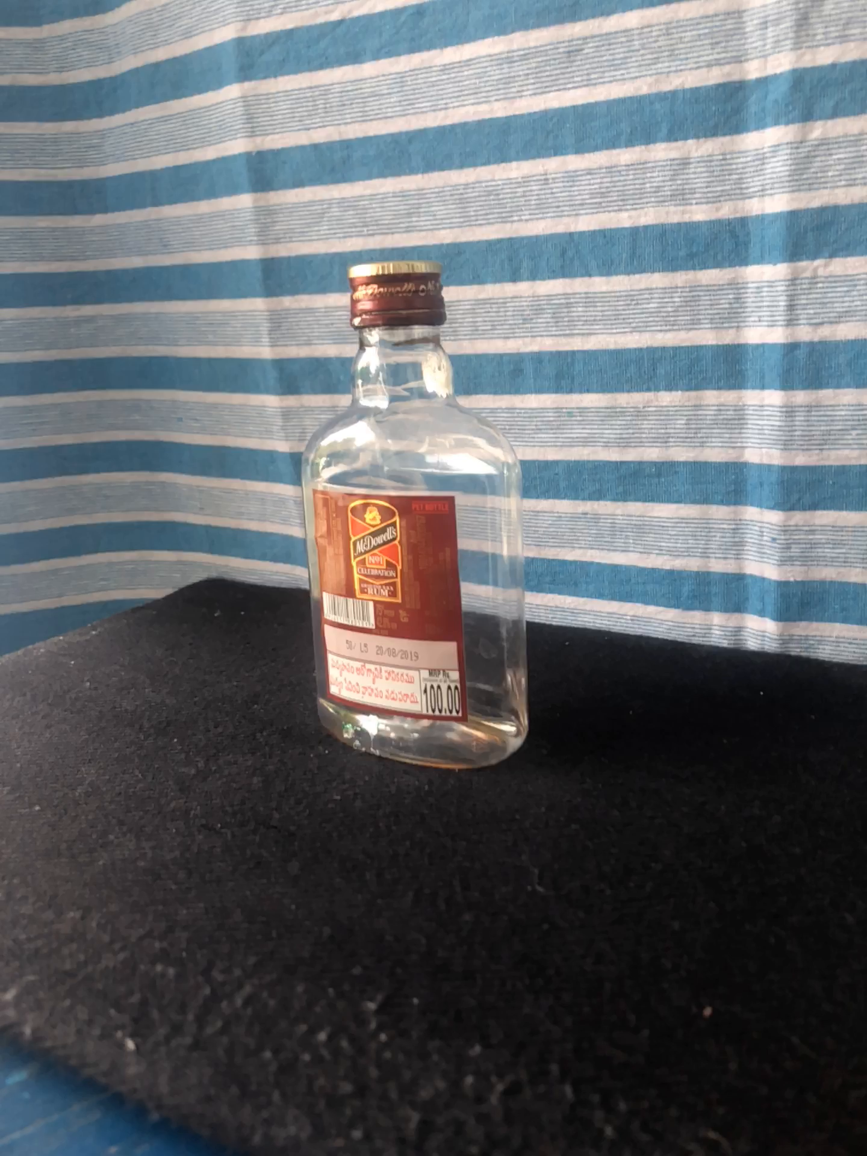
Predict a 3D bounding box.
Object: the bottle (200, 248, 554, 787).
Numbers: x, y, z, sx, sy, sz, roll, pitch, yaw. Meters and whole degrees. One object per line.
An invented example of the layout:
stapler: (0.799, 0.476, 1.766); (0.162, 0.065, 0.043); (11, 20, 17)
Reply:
bottle: (-0.013, -0.019, 0.261); (0.080, 0.130, 0.040); (8, 20, 30)
